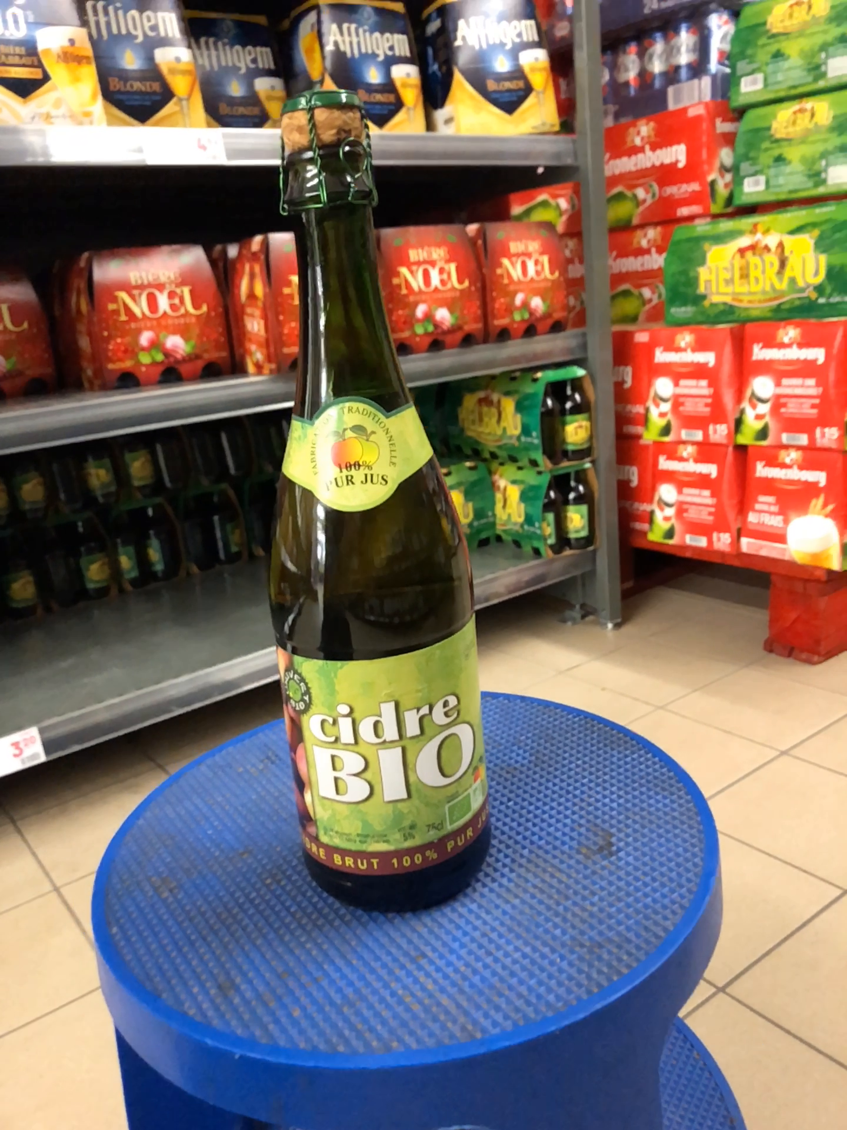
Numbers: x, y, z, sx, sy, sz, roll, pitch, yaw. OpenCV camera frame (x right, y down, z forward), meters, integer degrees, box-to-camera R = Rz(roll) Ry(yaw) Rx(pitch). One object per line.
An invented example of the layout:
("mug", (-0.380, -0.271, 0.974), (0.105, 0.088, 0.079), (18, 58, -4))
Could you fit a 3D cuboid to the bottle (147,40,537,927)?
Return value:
("bottle", (-0.016, -0.020, 0.352), (0.090, 0.289, 0.090), (-5, 15, 1))
